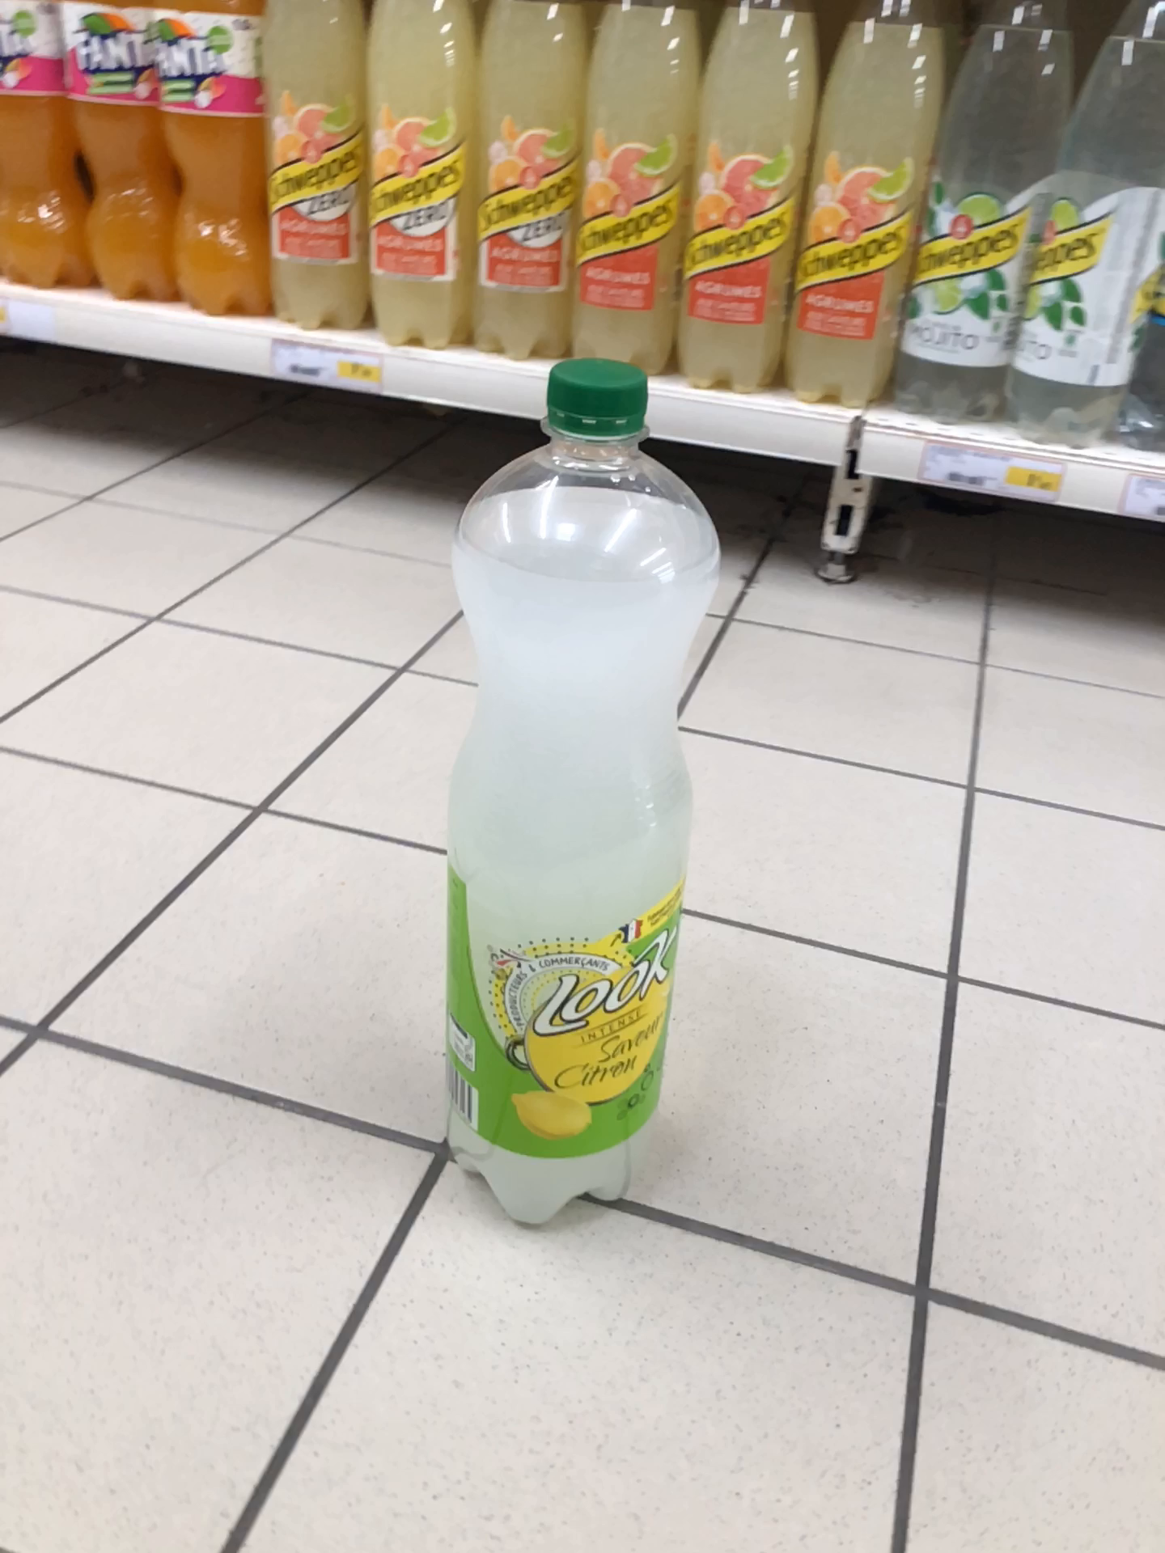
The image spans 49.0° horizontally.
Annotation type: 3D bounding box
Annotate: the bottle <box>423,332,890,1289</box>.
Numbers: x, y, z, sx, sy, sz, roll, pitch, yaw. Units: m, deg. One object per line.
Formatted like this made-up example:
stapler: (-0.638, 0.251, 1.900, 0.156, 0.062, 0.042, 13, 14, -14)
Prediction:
bottle: (0.007, 0.020, 0.436, 0.100, 0.308, 0.100, 4, 30, -2)
